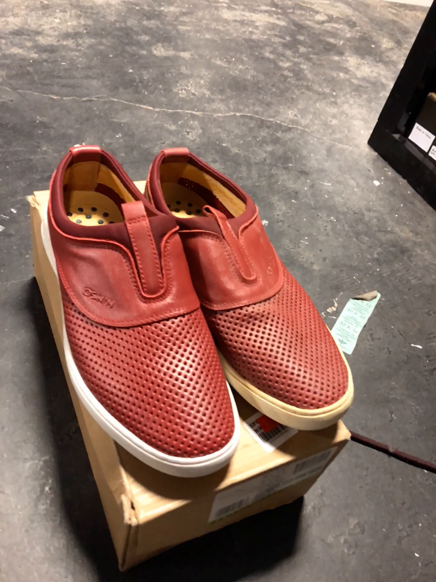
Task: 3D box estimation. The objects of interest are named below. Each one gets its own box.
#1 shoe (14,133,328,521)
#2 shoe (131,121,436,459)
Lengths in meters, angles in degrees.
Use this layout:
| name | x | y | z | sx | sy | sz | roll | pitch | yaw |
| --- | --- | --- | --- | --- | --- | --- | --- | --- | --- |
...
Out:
| name | x | y | z | sx | sy | sz | roll | pitch | yaw |
| --- | --- | --- | --- | --- | --- | --- | --- | --- | --- |
| shoe | -0.052 | 0.006 | 0.330 | 0.100 | 0.109 | 0.231 | -16 | 54 | -29 |
| shoe | 0.030 | -0.017 | 0.369 | 0.100 | 0.109 | 0.231 | -16 | 54 | -29 |
